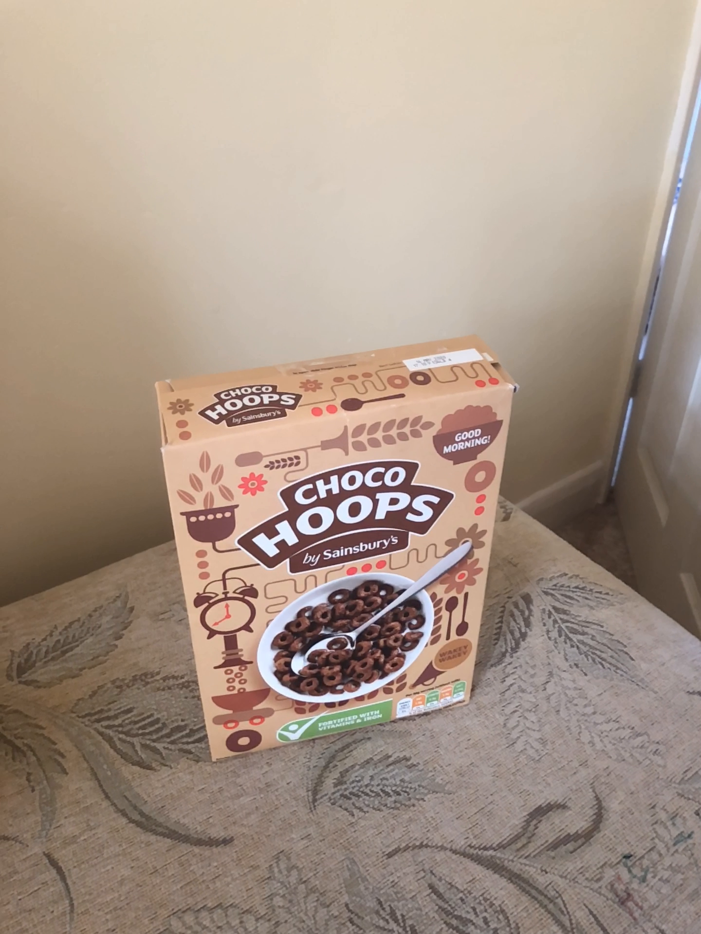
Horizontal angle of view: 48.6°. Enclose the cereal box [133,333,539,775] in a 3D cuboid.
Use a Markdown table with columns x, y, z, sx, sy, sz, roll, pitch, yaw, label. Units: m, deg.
| x | y | z | sx | sy | sz | roll | pitch | yaw | label |
| --- | --- | --- | --- | --- | --- | --- | --- | --- | --- |
| -0.010 | 0.061 | 0.503 | 0.210 | 0.258 | 0.081 | -10 | 36 | -14 | cereal box |
